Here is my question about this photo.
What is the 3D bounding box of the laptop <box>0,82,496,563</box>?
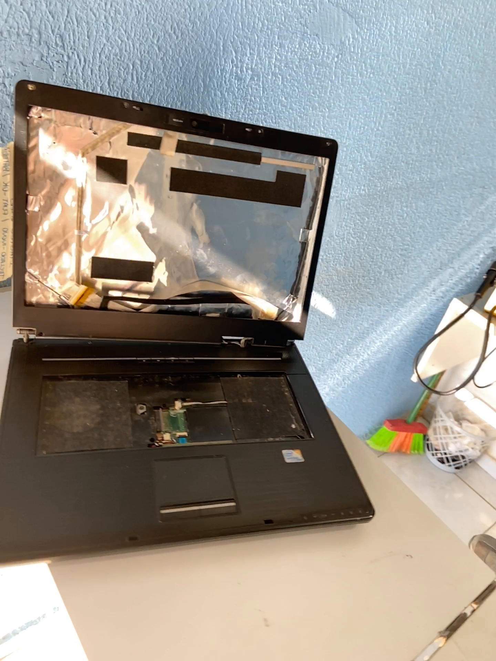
[{"bbox_3d":[-0.051,-0.032,0.510,0.353,0.261,0.351,2,37,-18],"label":"laptop"}]
